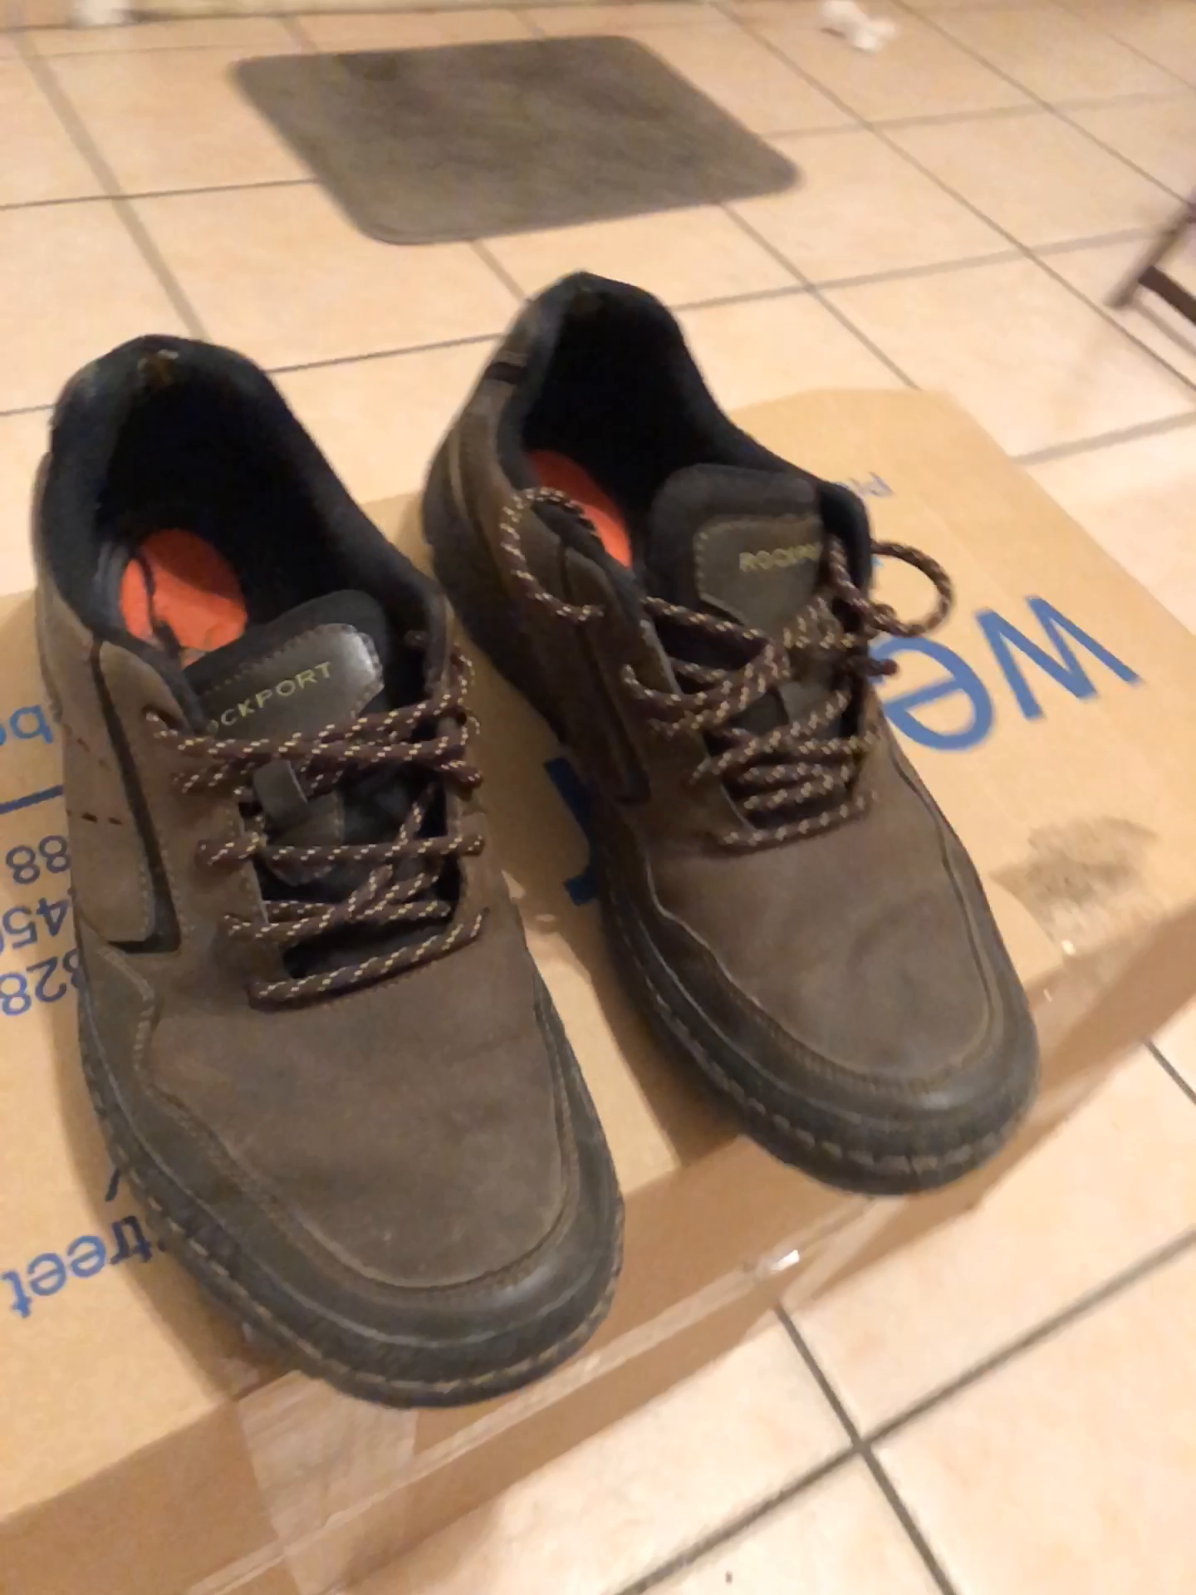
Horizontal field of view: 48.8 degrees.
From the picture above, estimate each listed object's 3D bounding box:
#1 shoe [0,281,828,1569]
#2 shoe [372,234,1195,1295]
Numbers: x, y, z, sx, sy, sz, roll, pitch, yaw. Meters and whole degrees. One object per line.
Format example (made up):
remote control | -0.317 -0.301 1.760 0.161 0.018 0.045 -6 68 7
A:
shoe | -0.076 0.006 0.322 0.110 0.109 0.282 -14 56 -22
shoe | 0.036 -0.033 0.381 0.110 0.109 0.292 -14 55 -22
